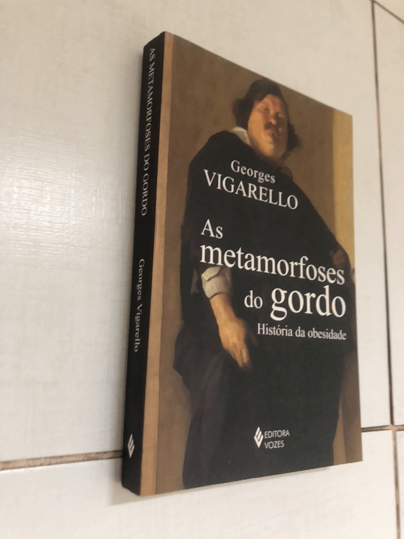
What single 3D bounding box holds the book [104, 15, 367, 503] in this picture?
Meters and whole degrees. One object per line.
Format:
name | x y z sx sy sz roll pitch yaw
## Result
book | 0.026 -0.005 0.231 0.137 0.023 0.204 8 79 -32
